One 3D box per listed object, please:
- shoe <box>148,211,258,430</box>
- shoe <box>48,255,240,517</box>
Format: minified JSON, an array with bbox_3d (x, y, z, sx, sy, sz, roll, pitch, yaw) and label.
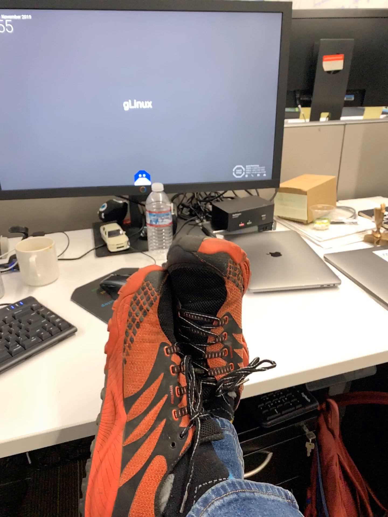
[{"bbox_3d":[0.023,0.083,0.511,0.107,0.271,0.083,3,28,14],"label":"shoe"},{"bbox_3d":[-0.043,0.153,0.425,0.132,0.289,0.091,6,-8,17],"label":"shoe"}]
